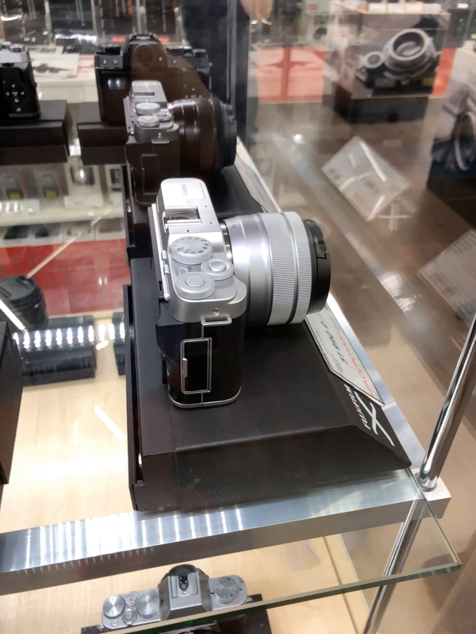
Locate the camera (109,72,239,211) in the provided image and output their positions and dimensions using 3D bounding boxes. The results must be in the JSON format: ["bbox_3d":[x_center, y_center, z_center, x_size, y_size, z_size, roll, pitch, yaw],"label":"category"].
[{"bbox_3d":[-0.059,-0.157,0.463,0.096,0.080,0.116,-5,37,-10],"label":"camera"}]

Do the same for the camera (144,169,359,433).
[{"bbox_3d":[-0.003,-0.017,0.288,0.084,0.080,0.126,-5,37,-9],"label":"camera"}]
